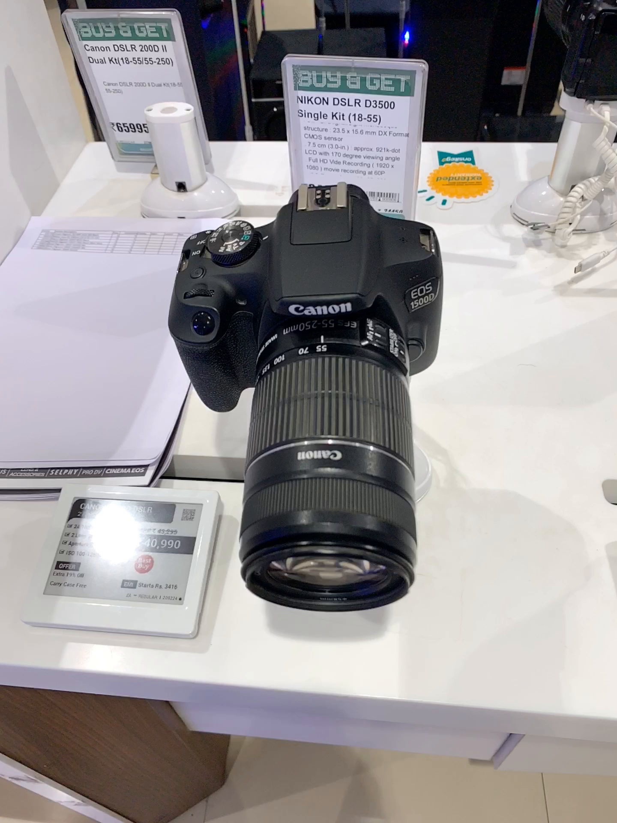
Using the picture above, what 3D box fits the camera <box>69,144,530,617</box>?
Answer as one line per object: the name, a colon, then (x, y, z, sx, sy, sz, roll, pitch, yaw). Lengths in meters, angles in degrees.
camera: (0.002, -0.022, 0.273, 0.130, 0.090, 0.190, -1, 50, 4)
